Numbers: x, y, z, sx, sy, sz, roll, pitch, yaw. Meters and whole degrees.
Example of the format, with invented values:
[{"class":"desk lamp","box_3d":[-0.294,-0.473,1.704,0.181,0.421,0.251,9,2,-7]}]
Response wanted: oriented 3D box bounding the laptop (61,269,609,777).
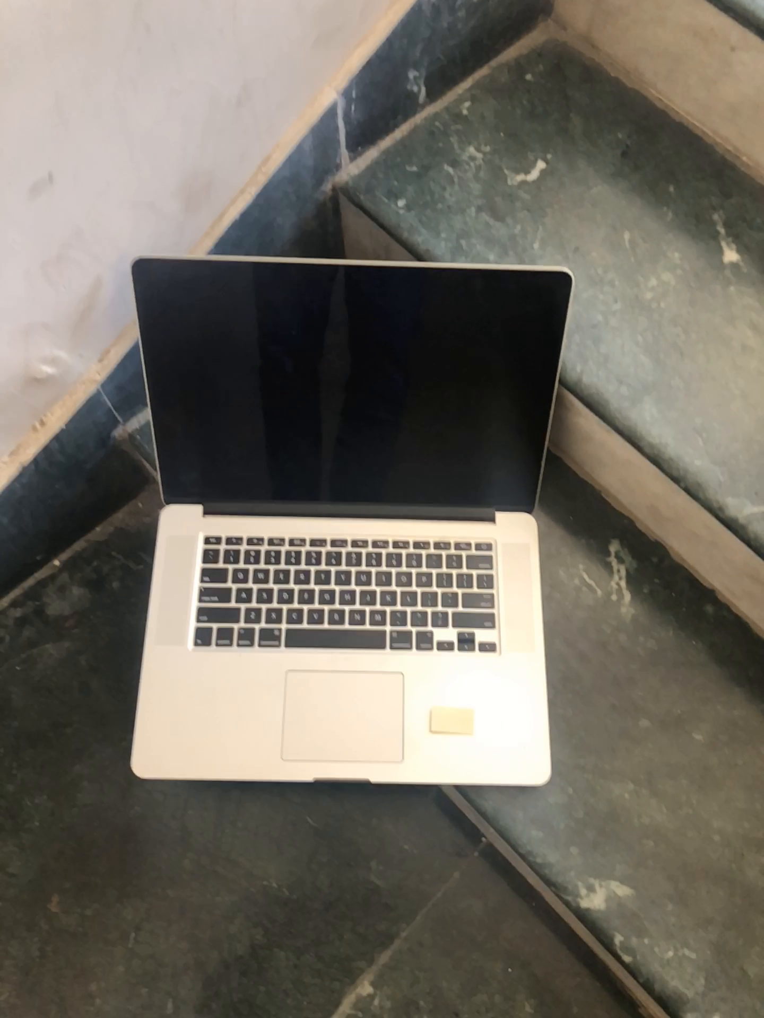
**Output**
[{"class":"laptop","box_3d":[-0.031,0.018,0.681,0.341,0.194,0.364,1,68,-1]}]
